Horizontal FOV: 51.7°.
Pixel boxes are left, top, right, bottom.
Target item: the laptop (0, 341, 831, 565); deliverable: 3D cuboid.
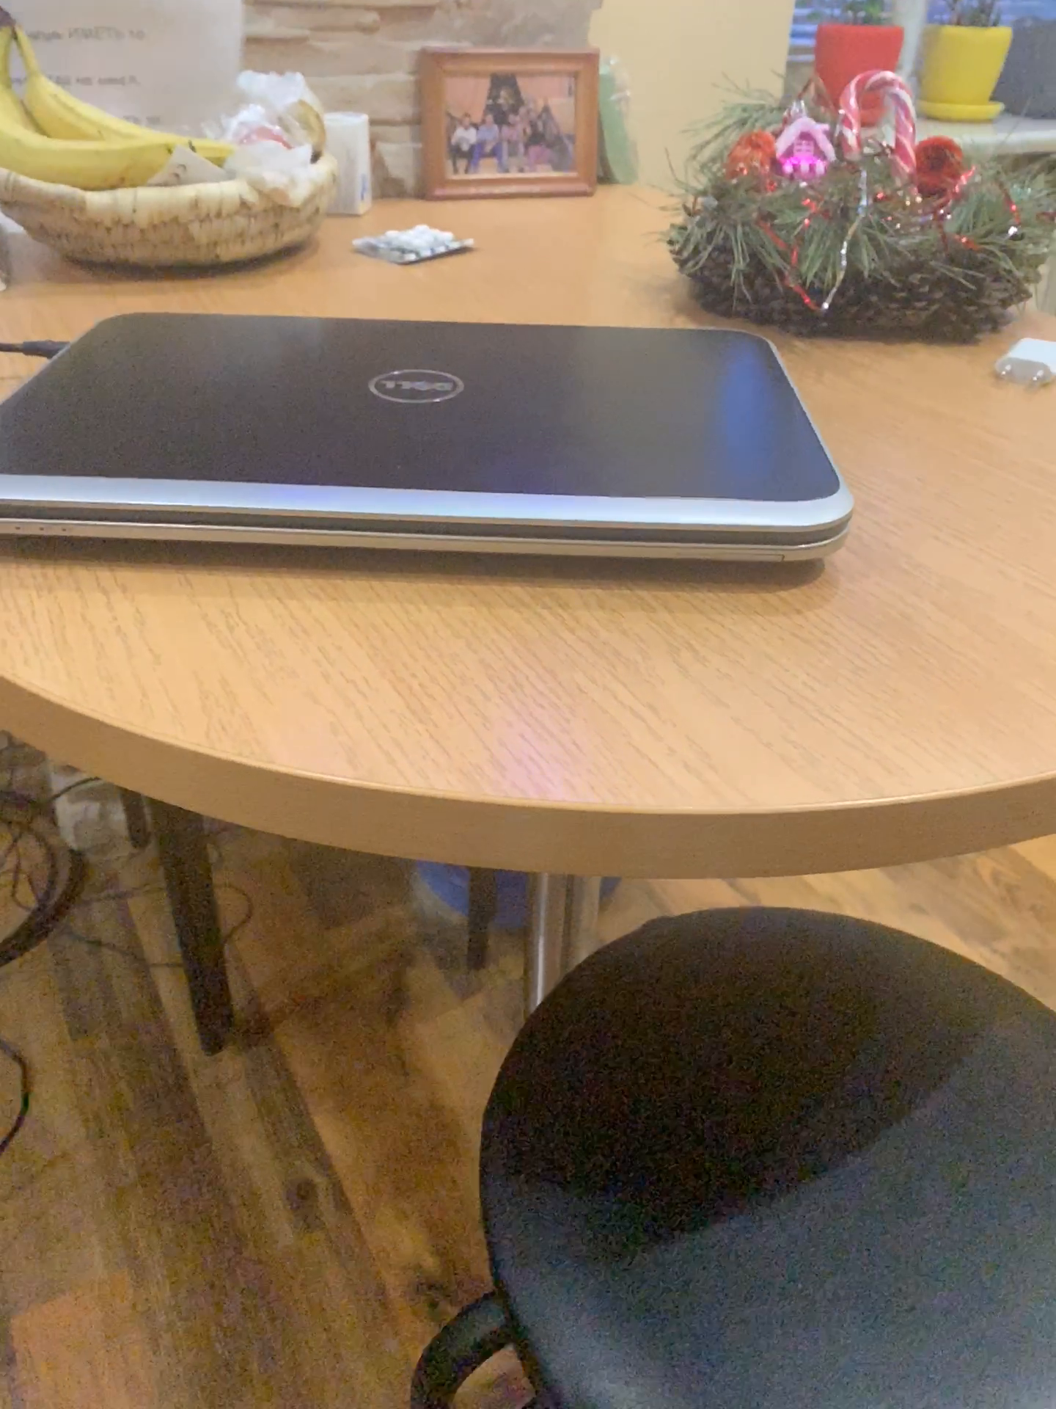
[{"bbox_3d":[-0.050,-0.131,0.526,0.348,0.004,0.226,2,37,2],"label":"laptop"}]
